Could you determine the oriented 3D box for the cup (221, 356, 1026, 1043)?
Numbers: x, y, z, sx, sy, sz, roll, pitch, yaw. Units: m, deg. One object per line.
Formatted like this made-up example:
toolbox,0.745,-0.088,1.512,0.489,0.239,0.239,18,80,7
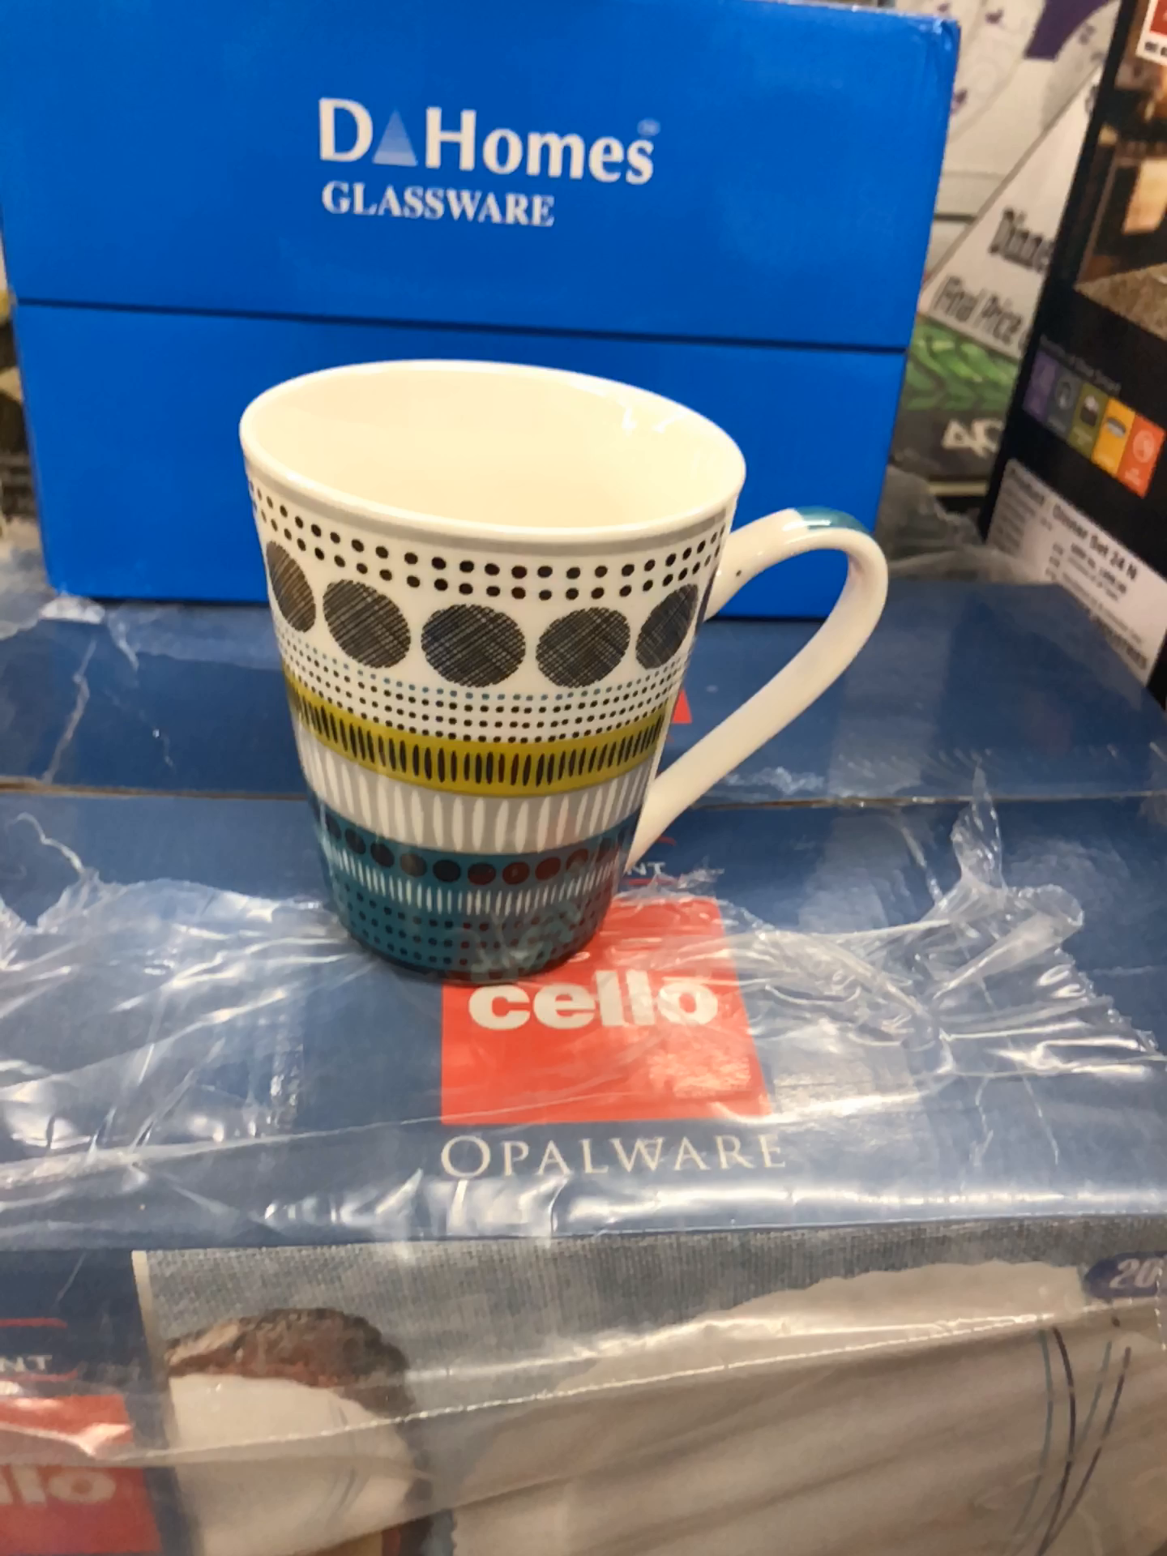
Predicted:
cup,-0.003,-0.021,0.250,0.120,0.089,0.091,-4,37,-13
